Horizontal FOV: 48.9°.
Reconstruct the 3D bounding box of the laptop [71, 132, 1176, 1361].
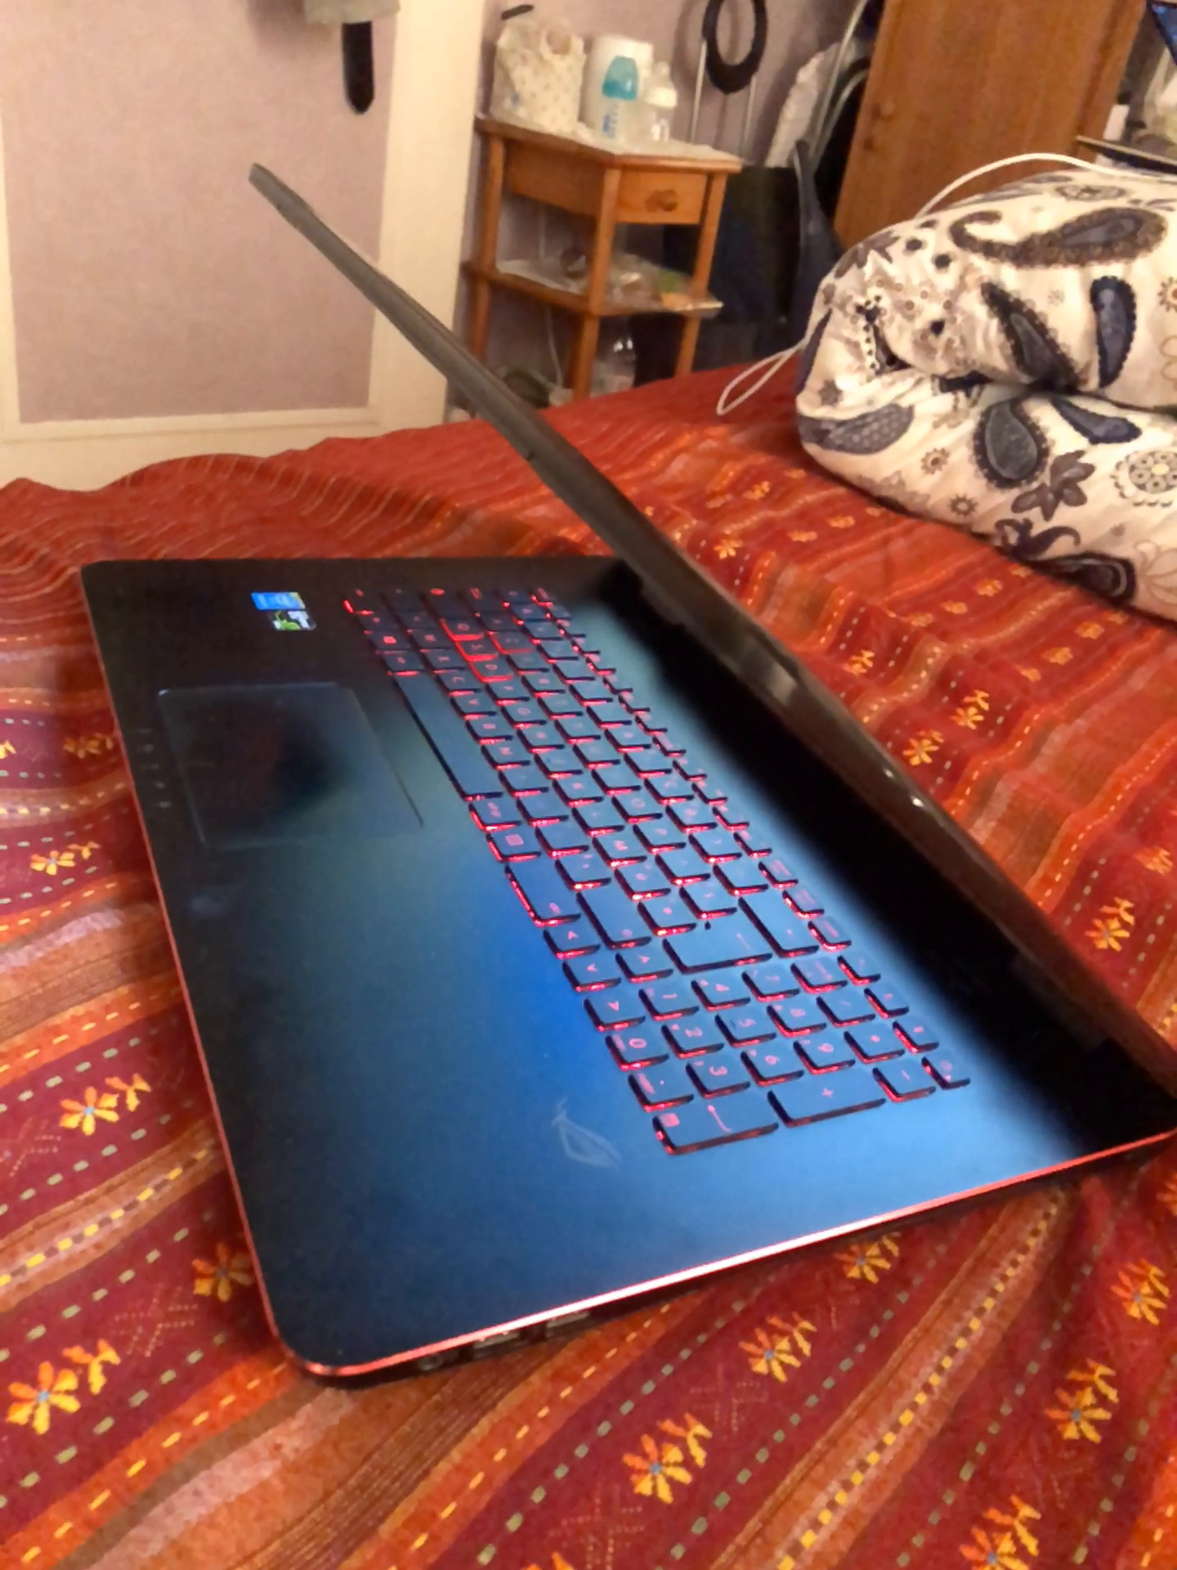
[{"bbox_3d":[-0.007,-0.072,0.433,0.268,0.168,0.400,-5,35,-25],"label":"laptop"}]
